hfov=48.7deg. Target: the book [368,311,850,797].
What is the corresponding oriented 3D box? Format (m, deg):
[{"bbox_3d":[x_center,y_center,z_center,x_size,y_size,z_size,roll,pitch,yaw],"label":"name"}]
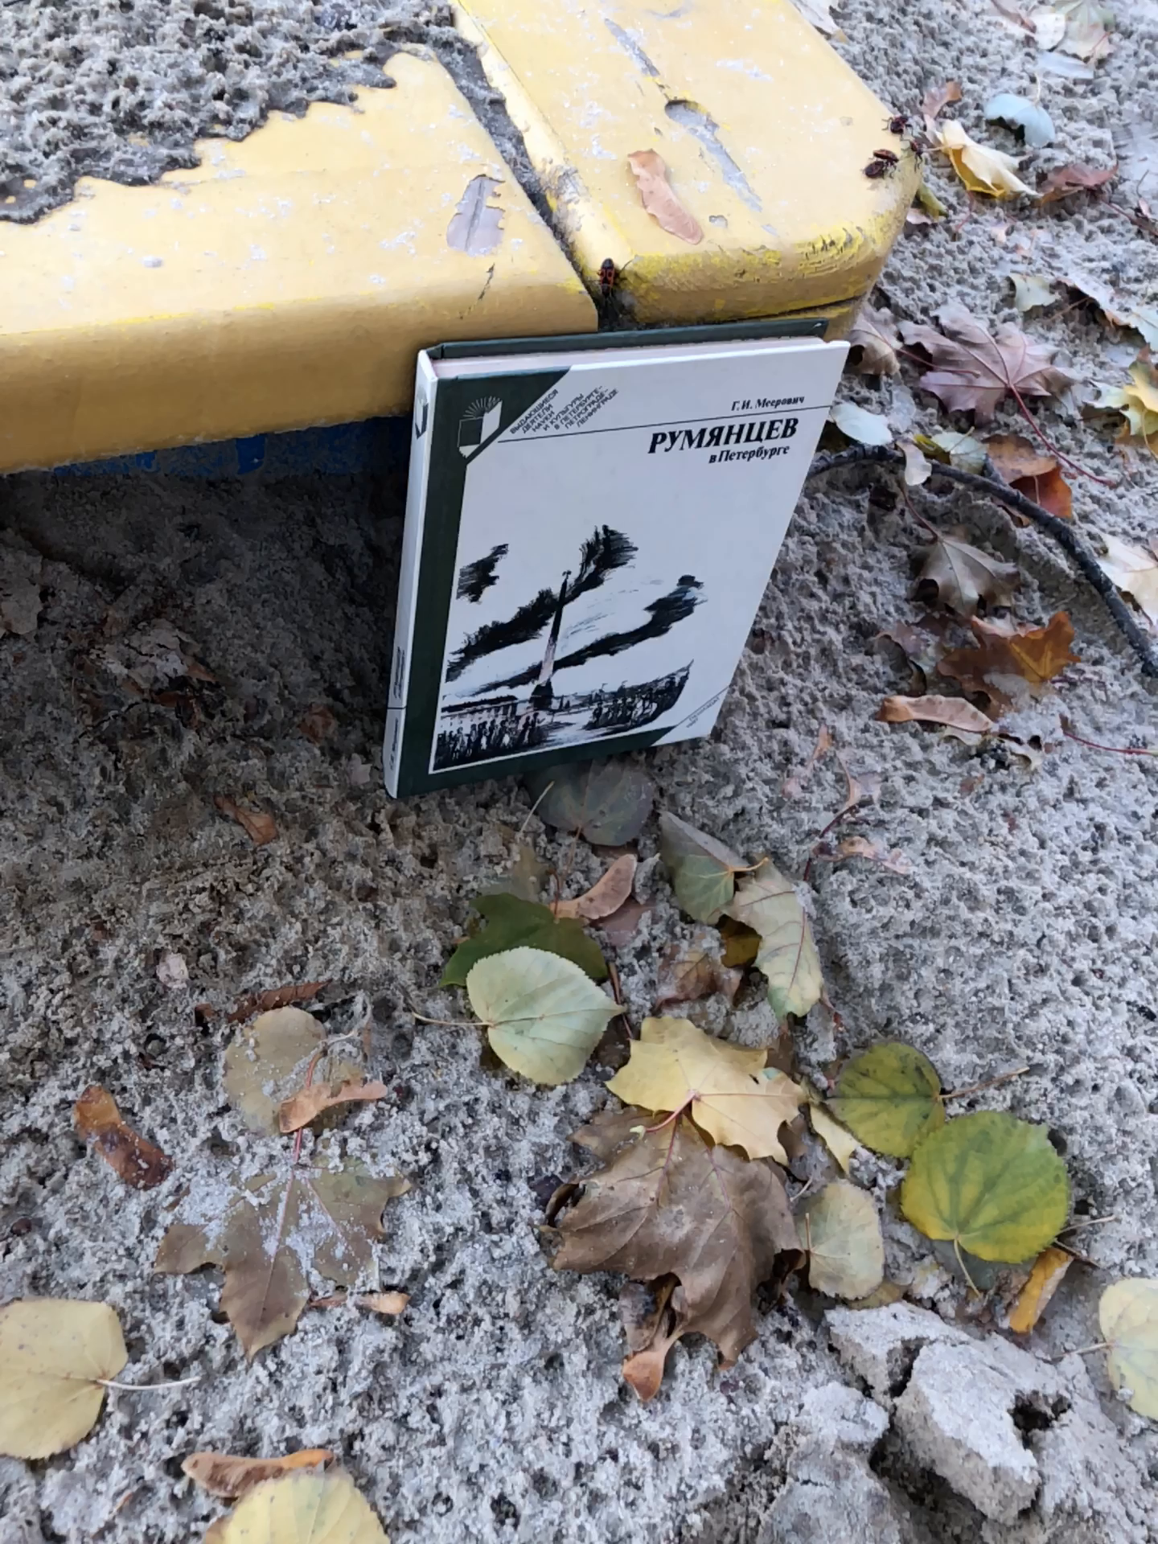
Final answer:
[{"bbox_3d":[0.006,-0.066,0.420,0.140,0.155,0.020,-10,45,-16],"label":"book"}]
